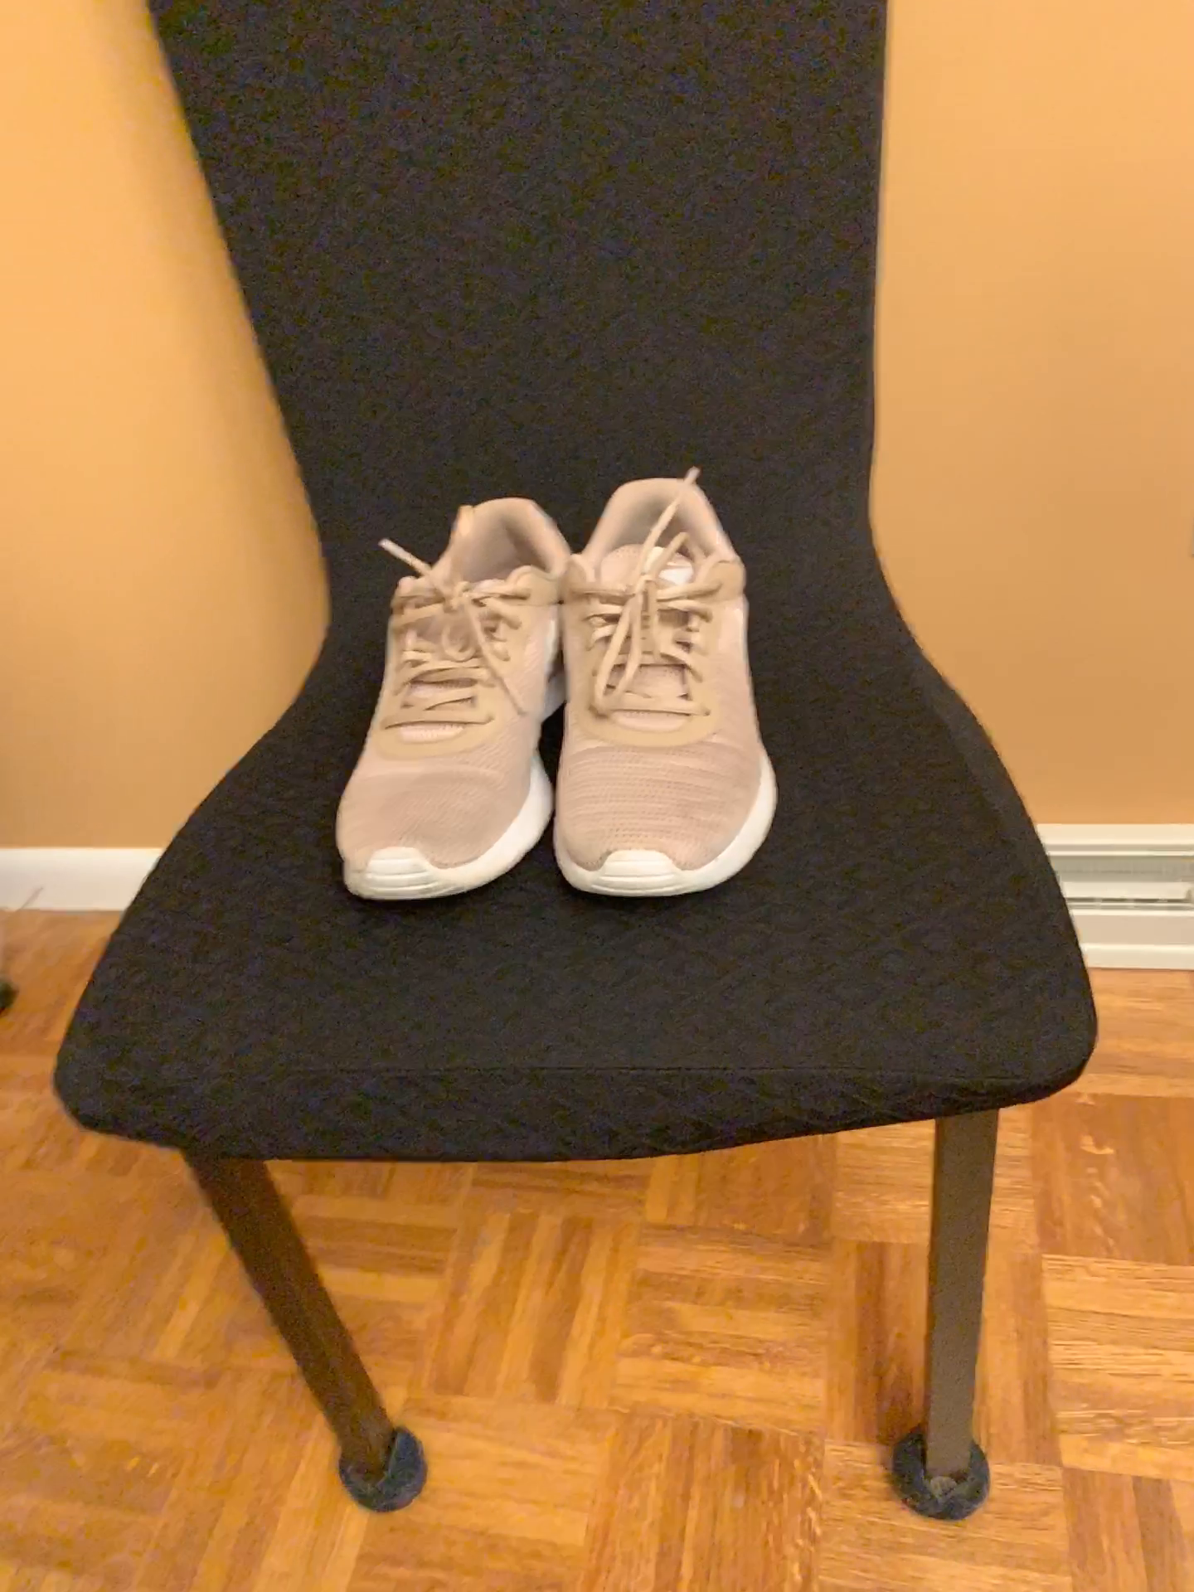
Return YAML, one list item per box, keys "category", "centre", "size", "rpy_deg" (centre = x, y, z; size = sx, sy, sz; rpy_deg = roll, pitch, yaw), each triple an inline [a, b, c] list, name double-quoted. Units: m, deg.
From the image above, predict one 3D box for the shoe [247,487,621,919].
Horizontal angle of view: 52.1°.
- category: "shoe"
  centre: [-0.069, -0.061, 0.650]
  size: [0.110, 0.089, 0.271]
  rpy_deg: [-1, 38, 13]

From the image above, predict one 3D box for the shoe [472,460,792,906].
- category: "shoe"
  centre: [0.032, -0.068, 0.608]
  size: [0.110, 0.089, 0.261]
  rpy_deg: [-1, 38, 13]
